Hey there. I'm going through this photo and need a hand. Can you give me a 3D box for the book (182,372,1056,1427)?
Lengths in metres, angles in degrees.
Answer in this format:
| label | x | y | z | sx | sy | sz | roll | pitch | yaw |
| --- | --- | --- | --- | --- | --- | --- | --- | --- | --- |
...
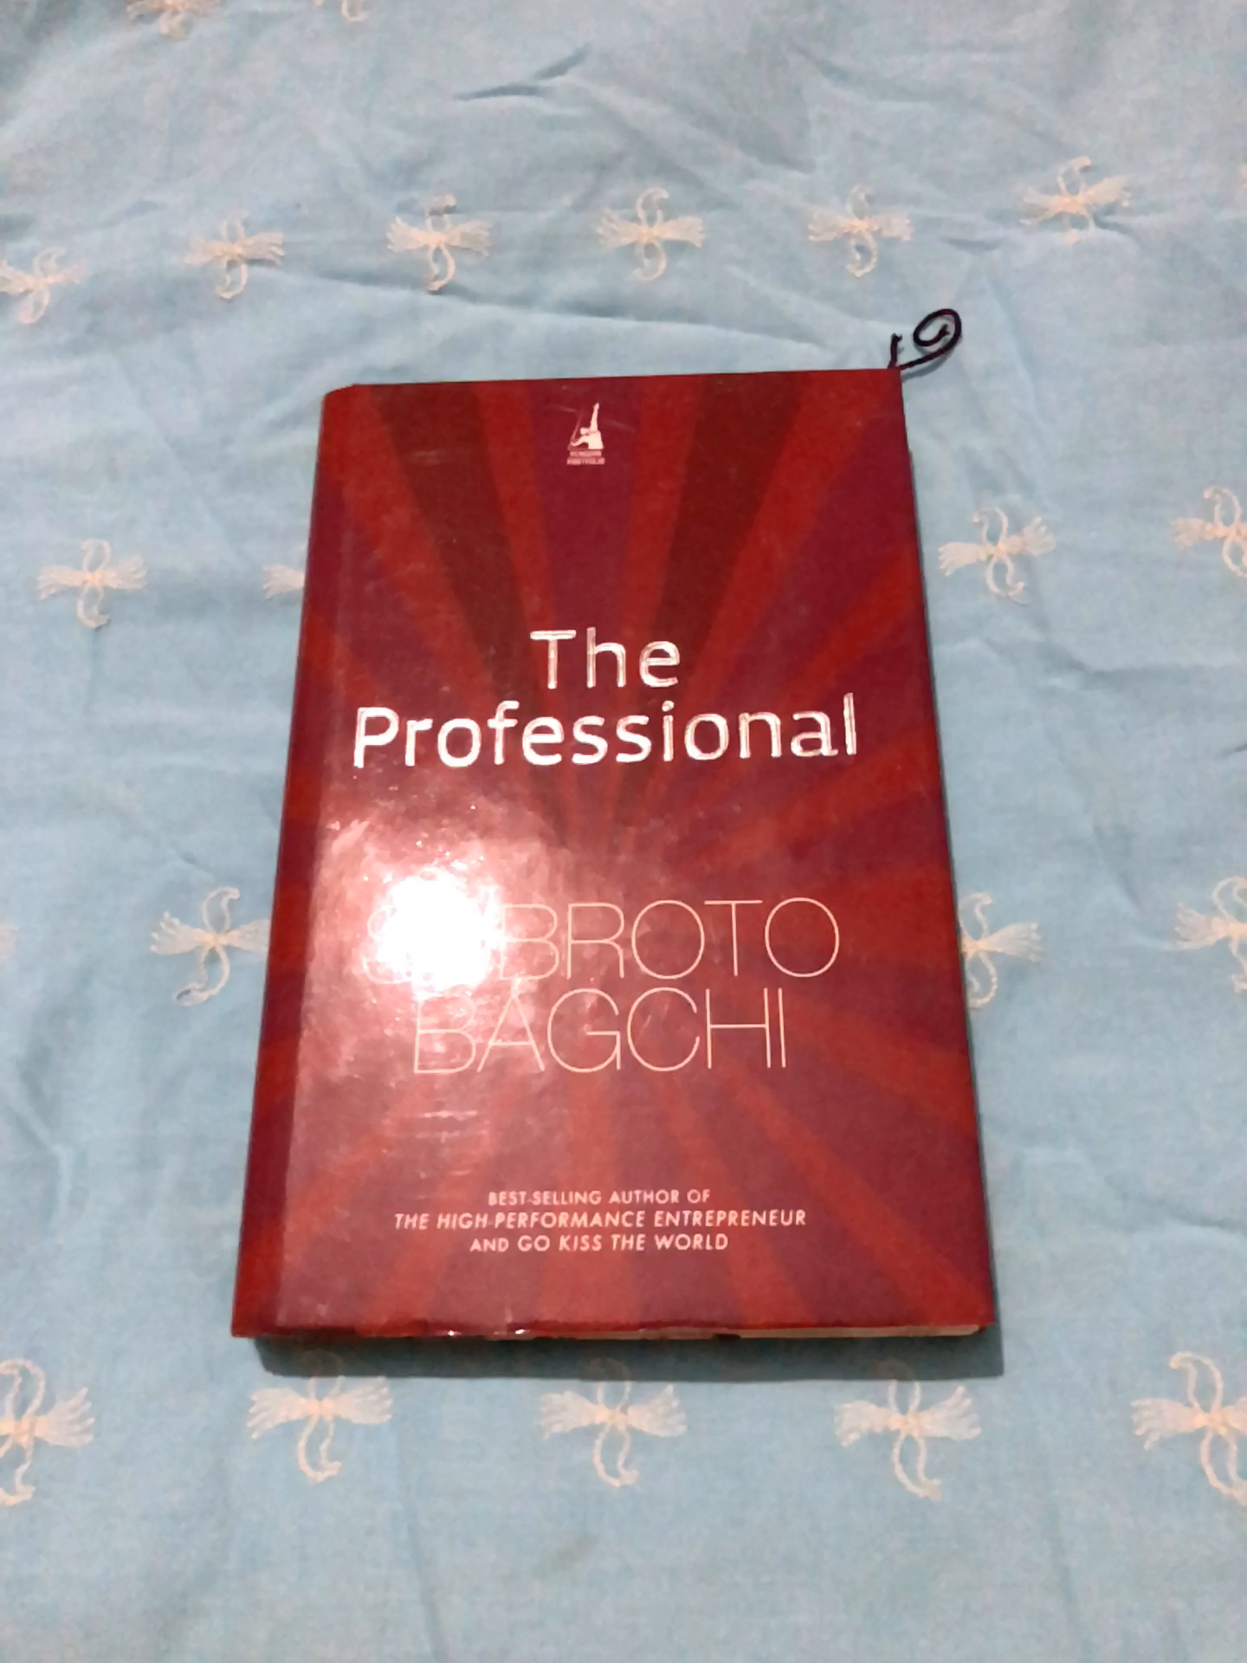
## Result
| label | x | y | z | sx | sy | sz | roll | pitch | yaw |
| --- | --- | --- | --- | --- | --- | --- | --- | --- | --- |
| book | 0.001 | 0.003 | 0.291 | 0.150 | 0.030 | 0.220 | 1 | 69 | 2 |
